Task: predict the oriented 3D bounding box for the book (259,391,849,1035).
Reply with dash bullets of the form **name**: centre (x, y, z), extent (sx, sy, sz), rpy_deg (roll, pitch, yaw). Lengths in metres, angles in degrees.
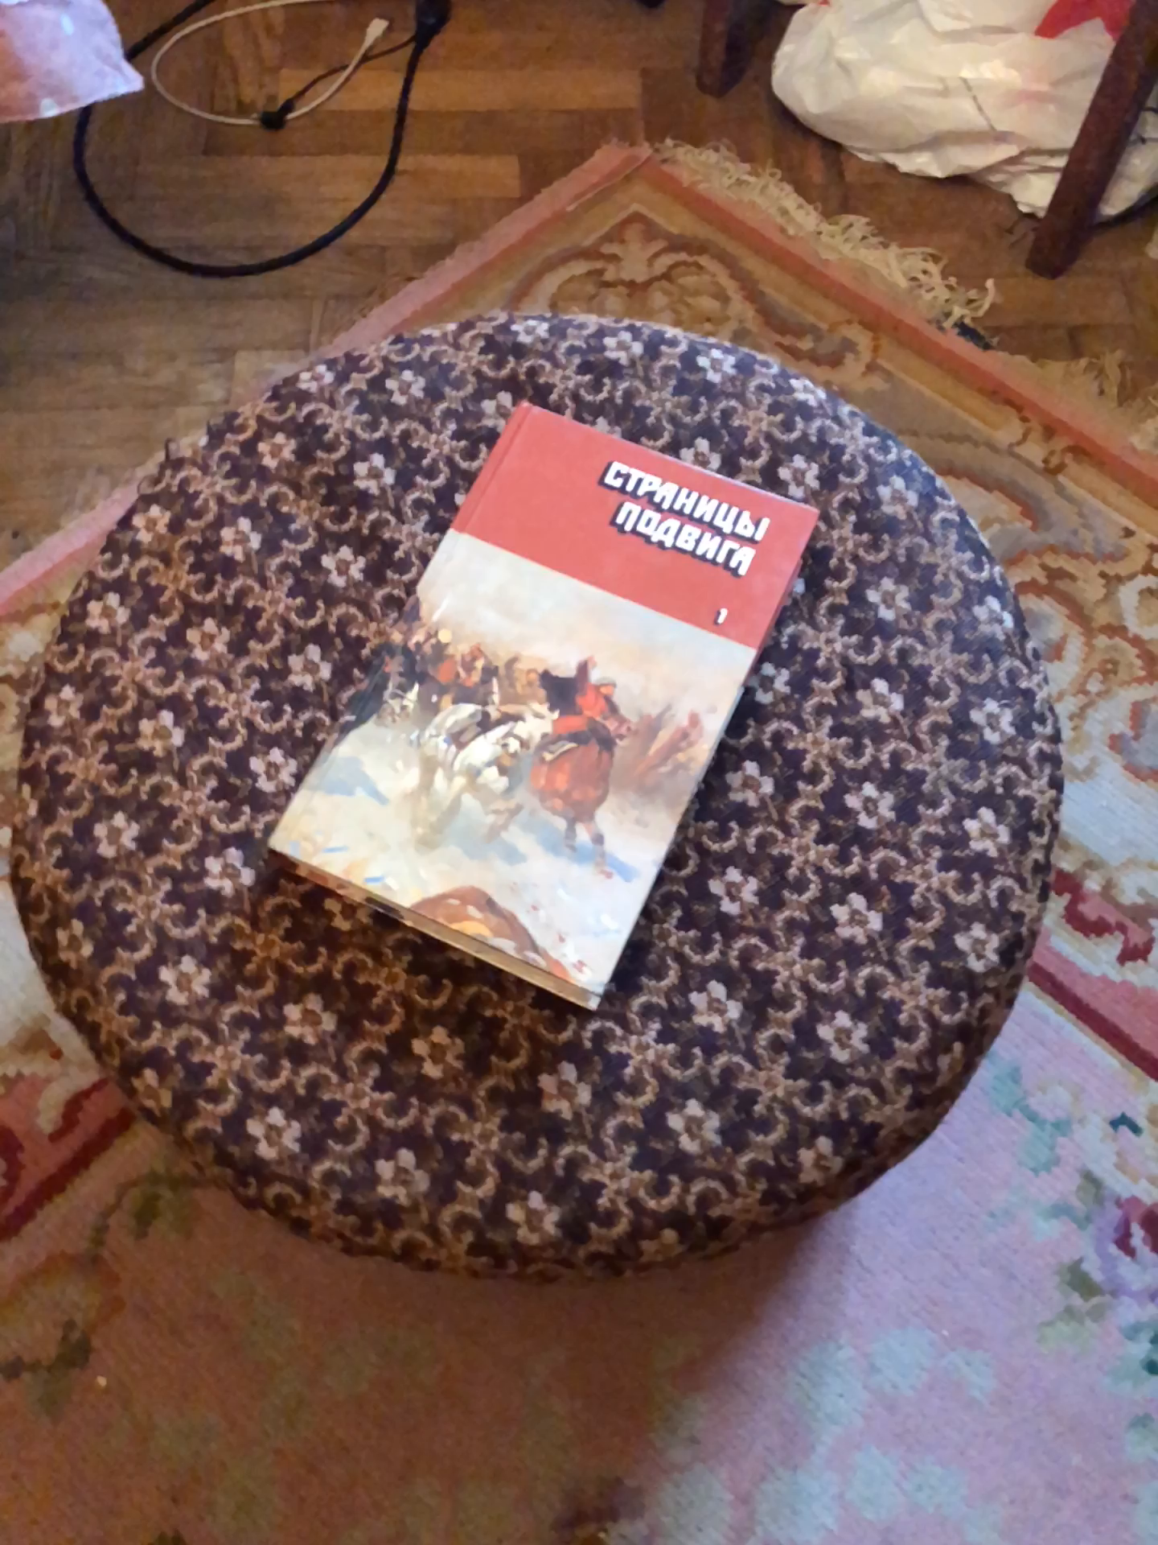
- **book**: centre (-0.003, -0.029, 0.468), extent (0.134, 0.040, 0.206), rpy_deg (23, 70, 10)
